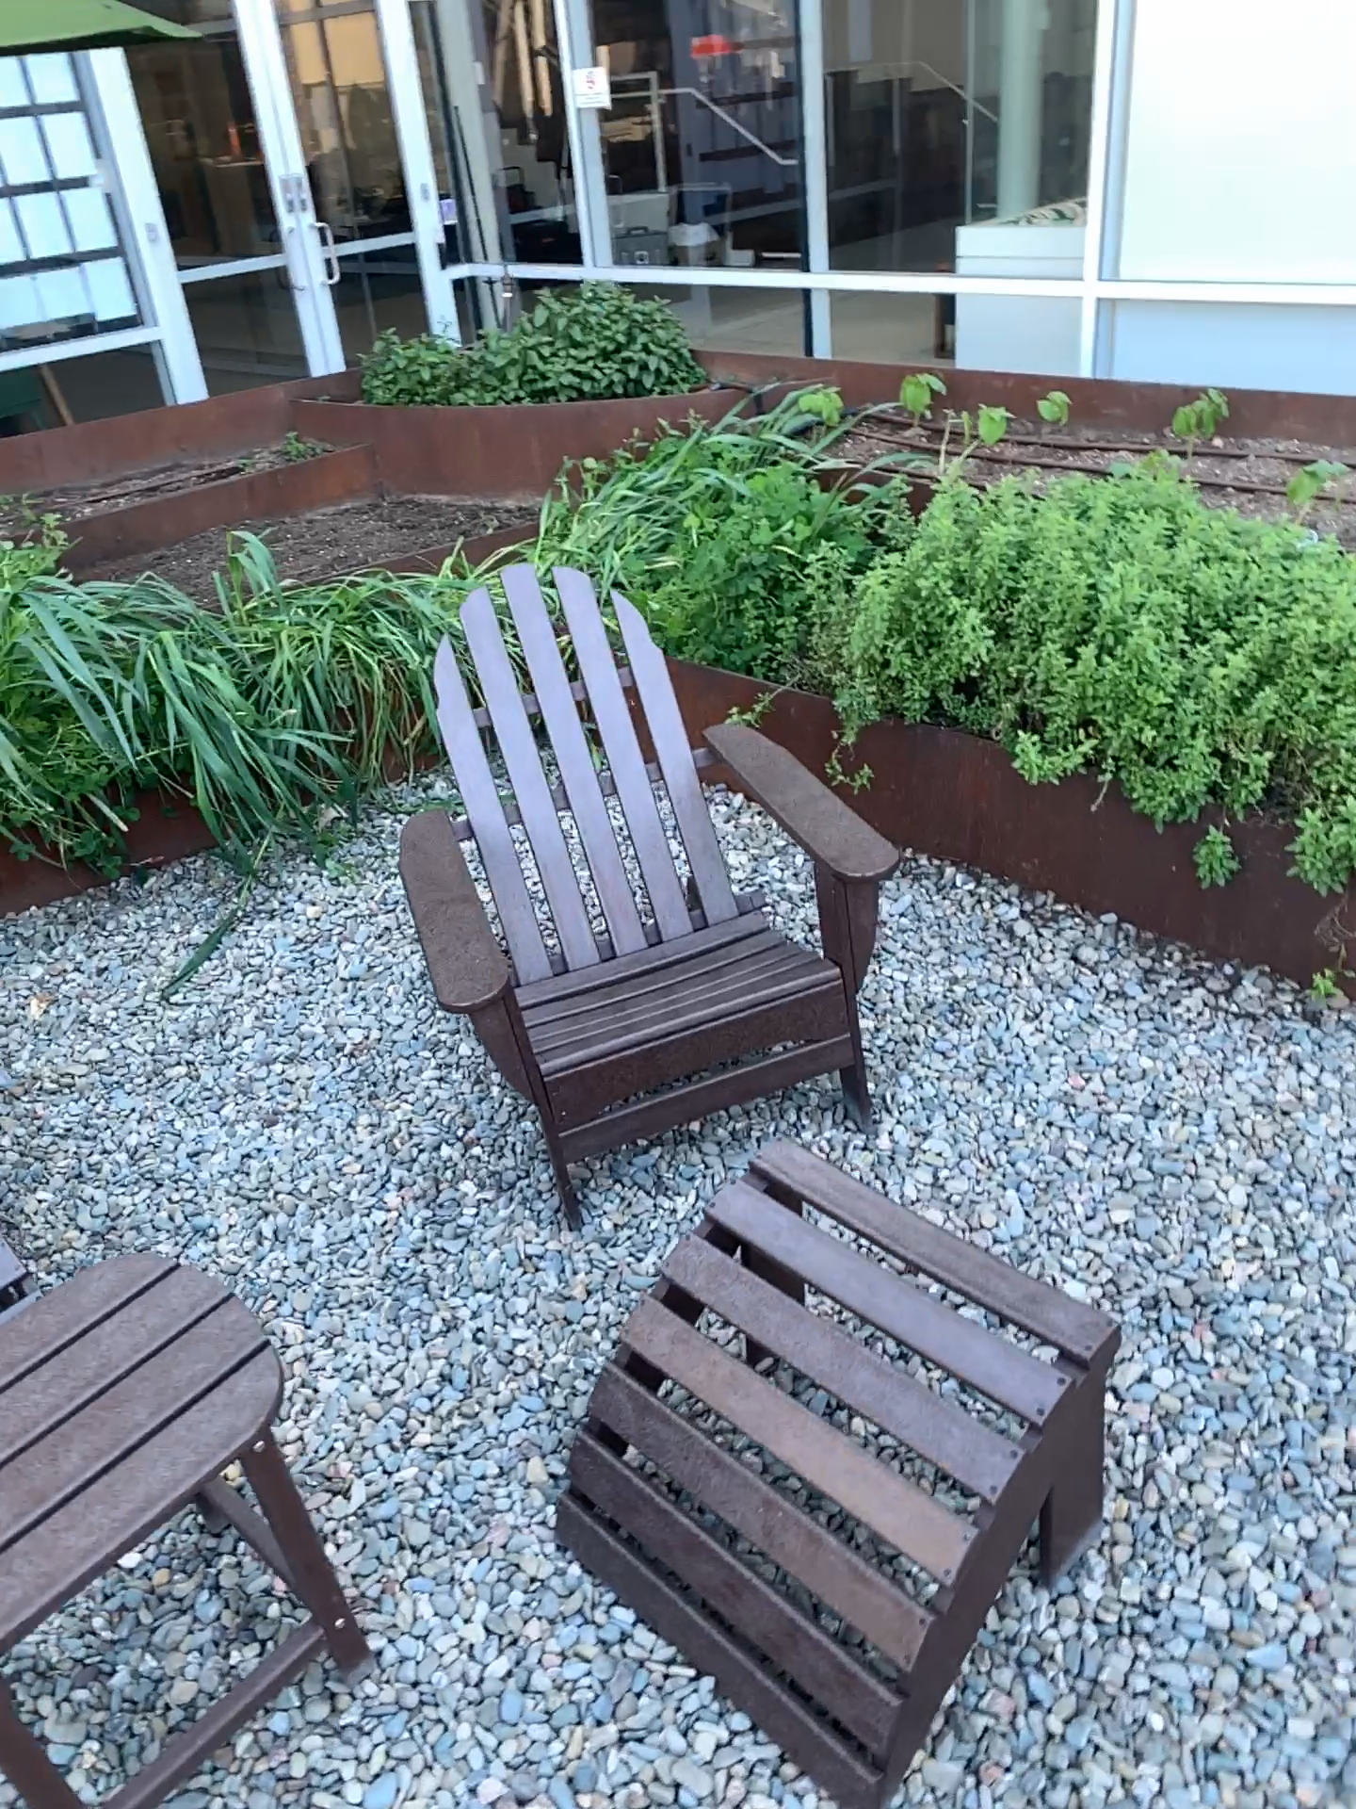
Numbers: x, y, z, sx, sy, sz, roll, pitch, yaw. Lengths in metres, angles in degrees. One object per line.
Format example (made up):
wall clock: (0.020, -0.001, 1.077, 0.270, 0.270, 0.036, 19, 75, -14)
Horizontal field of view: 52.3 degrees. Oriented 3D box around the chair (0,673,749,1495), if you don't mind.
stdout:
chair: (-0.474, 0.275, 2.603, 1.000, 0.994, 1.006, -8, 31, -4)
